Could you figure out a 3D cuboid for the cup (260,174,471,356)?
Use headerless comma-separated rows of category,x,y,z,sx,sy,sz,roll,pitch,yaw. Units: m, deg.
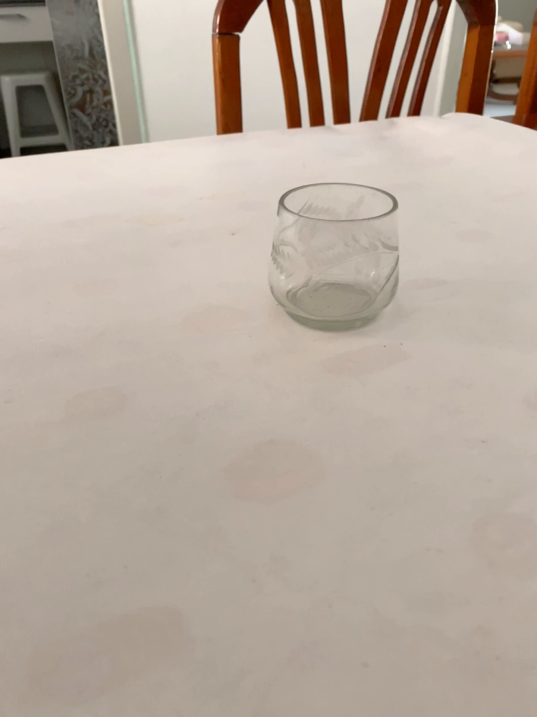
cup,0.046,-0.055,0.300,0.080,0.060,0.080,-1,34,0
